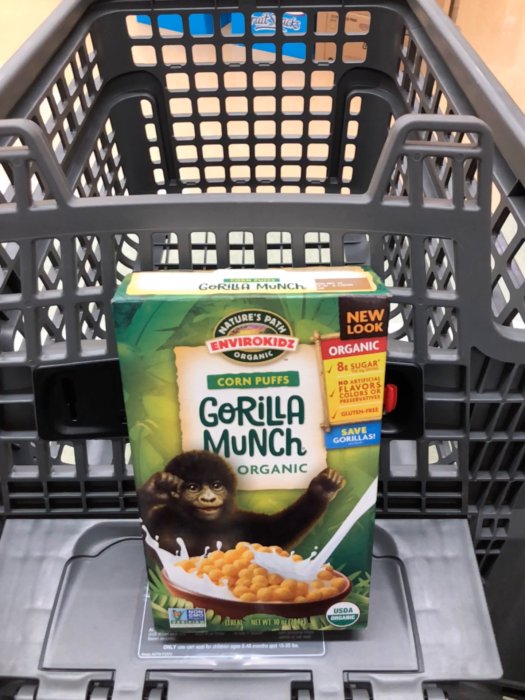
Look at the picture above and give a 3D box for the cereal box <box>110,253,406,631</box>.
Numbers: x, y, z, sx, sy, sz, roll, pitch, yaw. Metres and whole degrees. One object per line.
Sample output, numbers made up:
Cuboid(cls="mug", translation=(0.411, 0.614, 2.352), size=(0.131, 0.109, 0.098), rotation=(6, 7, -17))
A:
Cuboid(cls="cereal box", translation=(0.000, 0.071, 0.398), size=(0.160, 0.260, 0.070), rotation=(-1, 25, 1))
